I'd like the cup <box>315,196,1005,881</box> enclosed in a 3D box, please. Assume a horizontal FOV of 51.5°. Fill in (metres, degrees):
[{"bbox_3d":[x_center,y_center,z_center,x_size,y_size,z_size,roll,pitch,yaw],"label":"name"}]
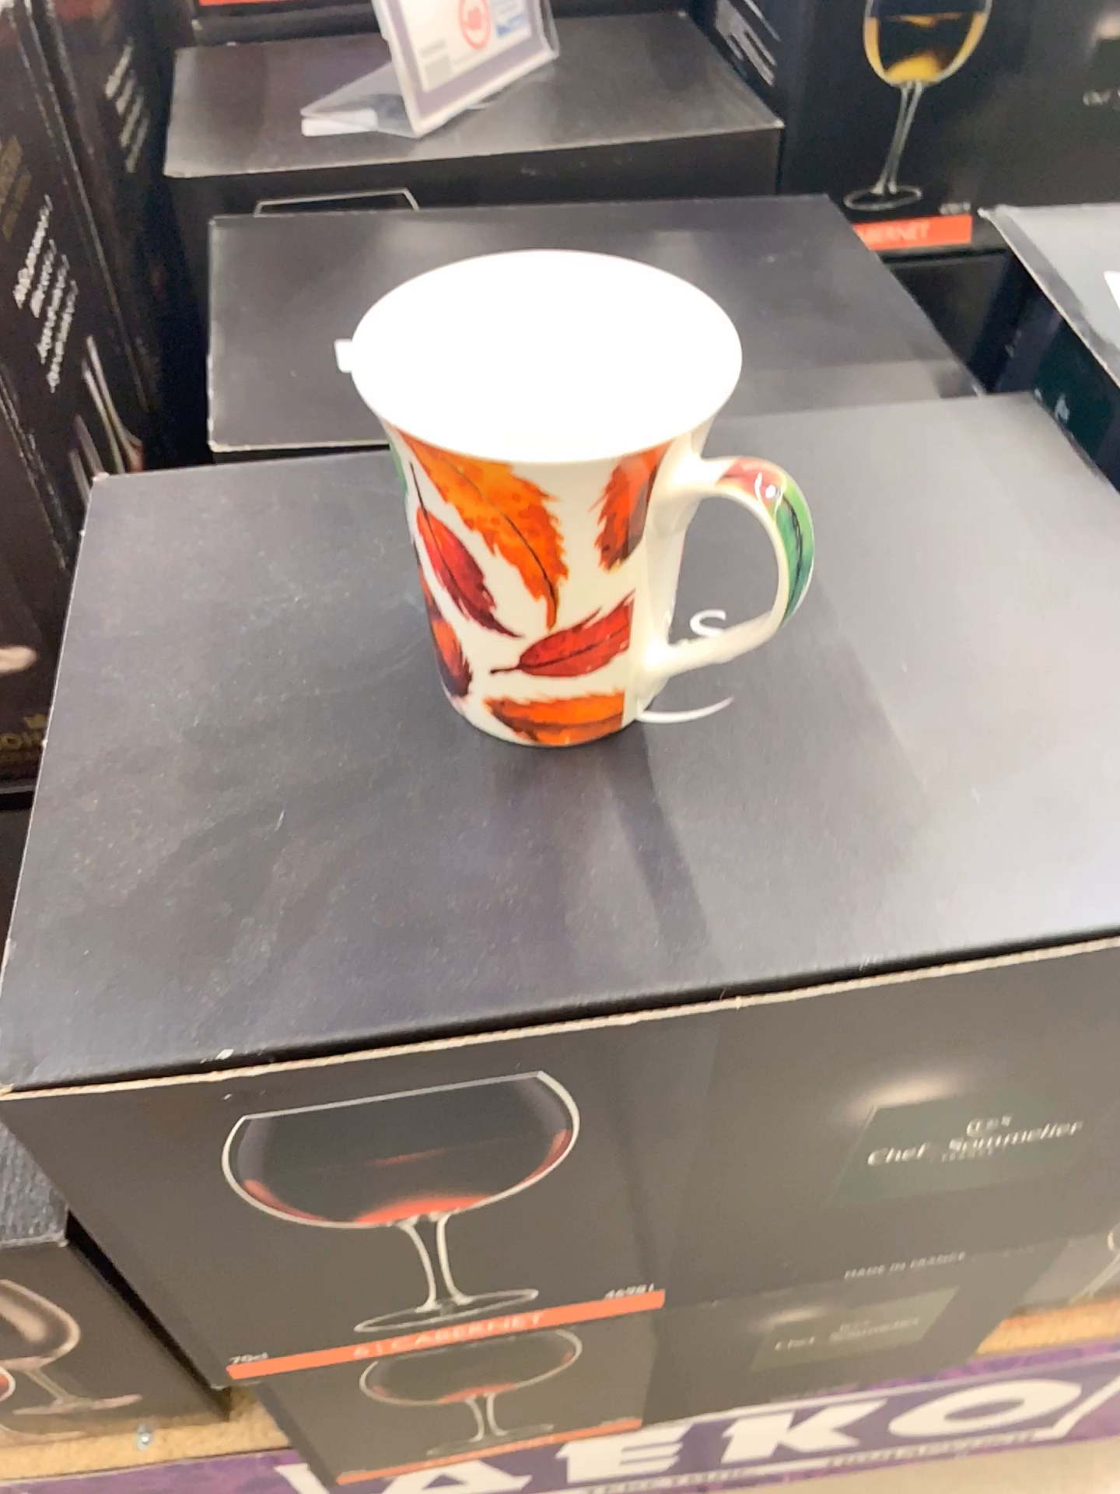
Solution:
[{"bbox_3d":[0.021,-0.056,0.290,0.120,0.100,0.090,32,55,27],"label":"cup"}]
